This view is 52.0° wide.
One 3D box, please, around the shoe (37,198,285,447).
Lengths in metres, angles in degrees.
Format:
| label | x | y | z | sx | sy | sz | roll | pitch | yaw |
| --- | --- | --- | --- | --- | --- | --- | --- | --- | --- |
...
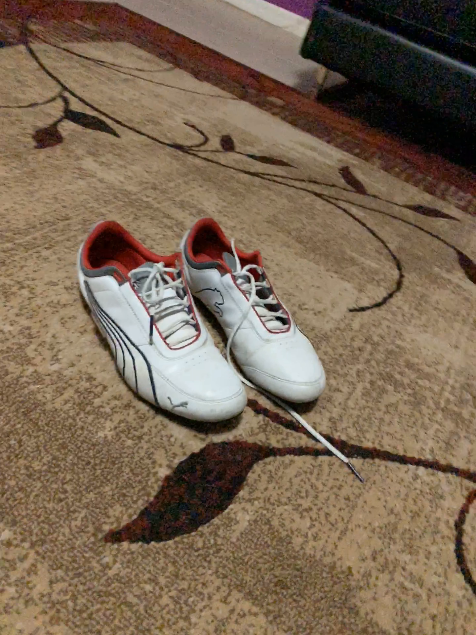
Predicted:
| label | x | y | z | sx | sy | sz | roll | pitch | yaw |
| --- | --- | --- | --- | --- | --- | --- | --- | --- | --- |
| shoe | -0.093 | -0.014 | 0.501 | 0.099 | 0.070 | 0.282 | -20 | 54 | -41 |

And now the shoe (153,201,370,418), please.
| label | x | y | z | sx | sy | sz | roll | pitch | yaw |
| --- | --- | --- | --- | --- | --- | --- | --- | --- | --- |
| shoe | 0.011 | -0.029 | 0.567 | 0.104 | 0.070 | 0.282 | -10 | 48 | -34 |
